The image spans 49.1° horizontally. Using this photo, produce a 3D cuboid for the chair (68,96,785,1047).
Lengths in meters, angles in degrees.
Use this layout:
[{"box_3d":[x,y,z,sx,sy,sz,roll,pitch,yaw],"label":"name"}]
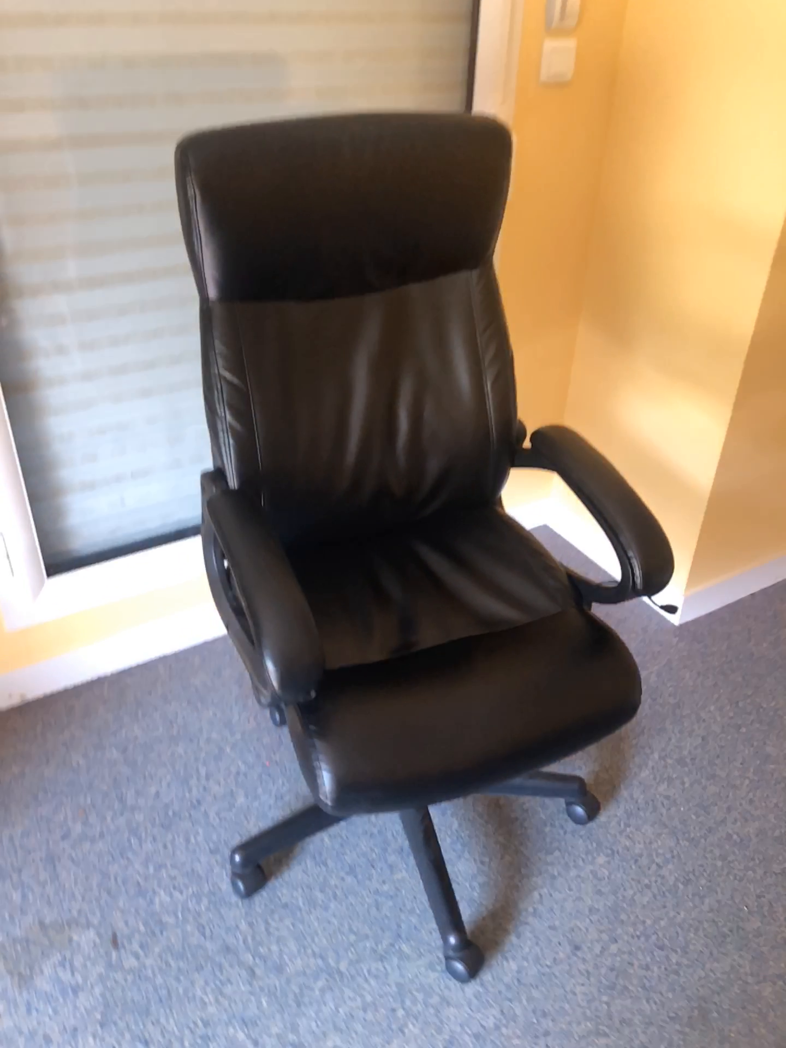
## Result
[{"box_3d":[0.020,0.031,1.306,0.662,1.113,0.752,-15,37,-24],"label":"chair"}]
